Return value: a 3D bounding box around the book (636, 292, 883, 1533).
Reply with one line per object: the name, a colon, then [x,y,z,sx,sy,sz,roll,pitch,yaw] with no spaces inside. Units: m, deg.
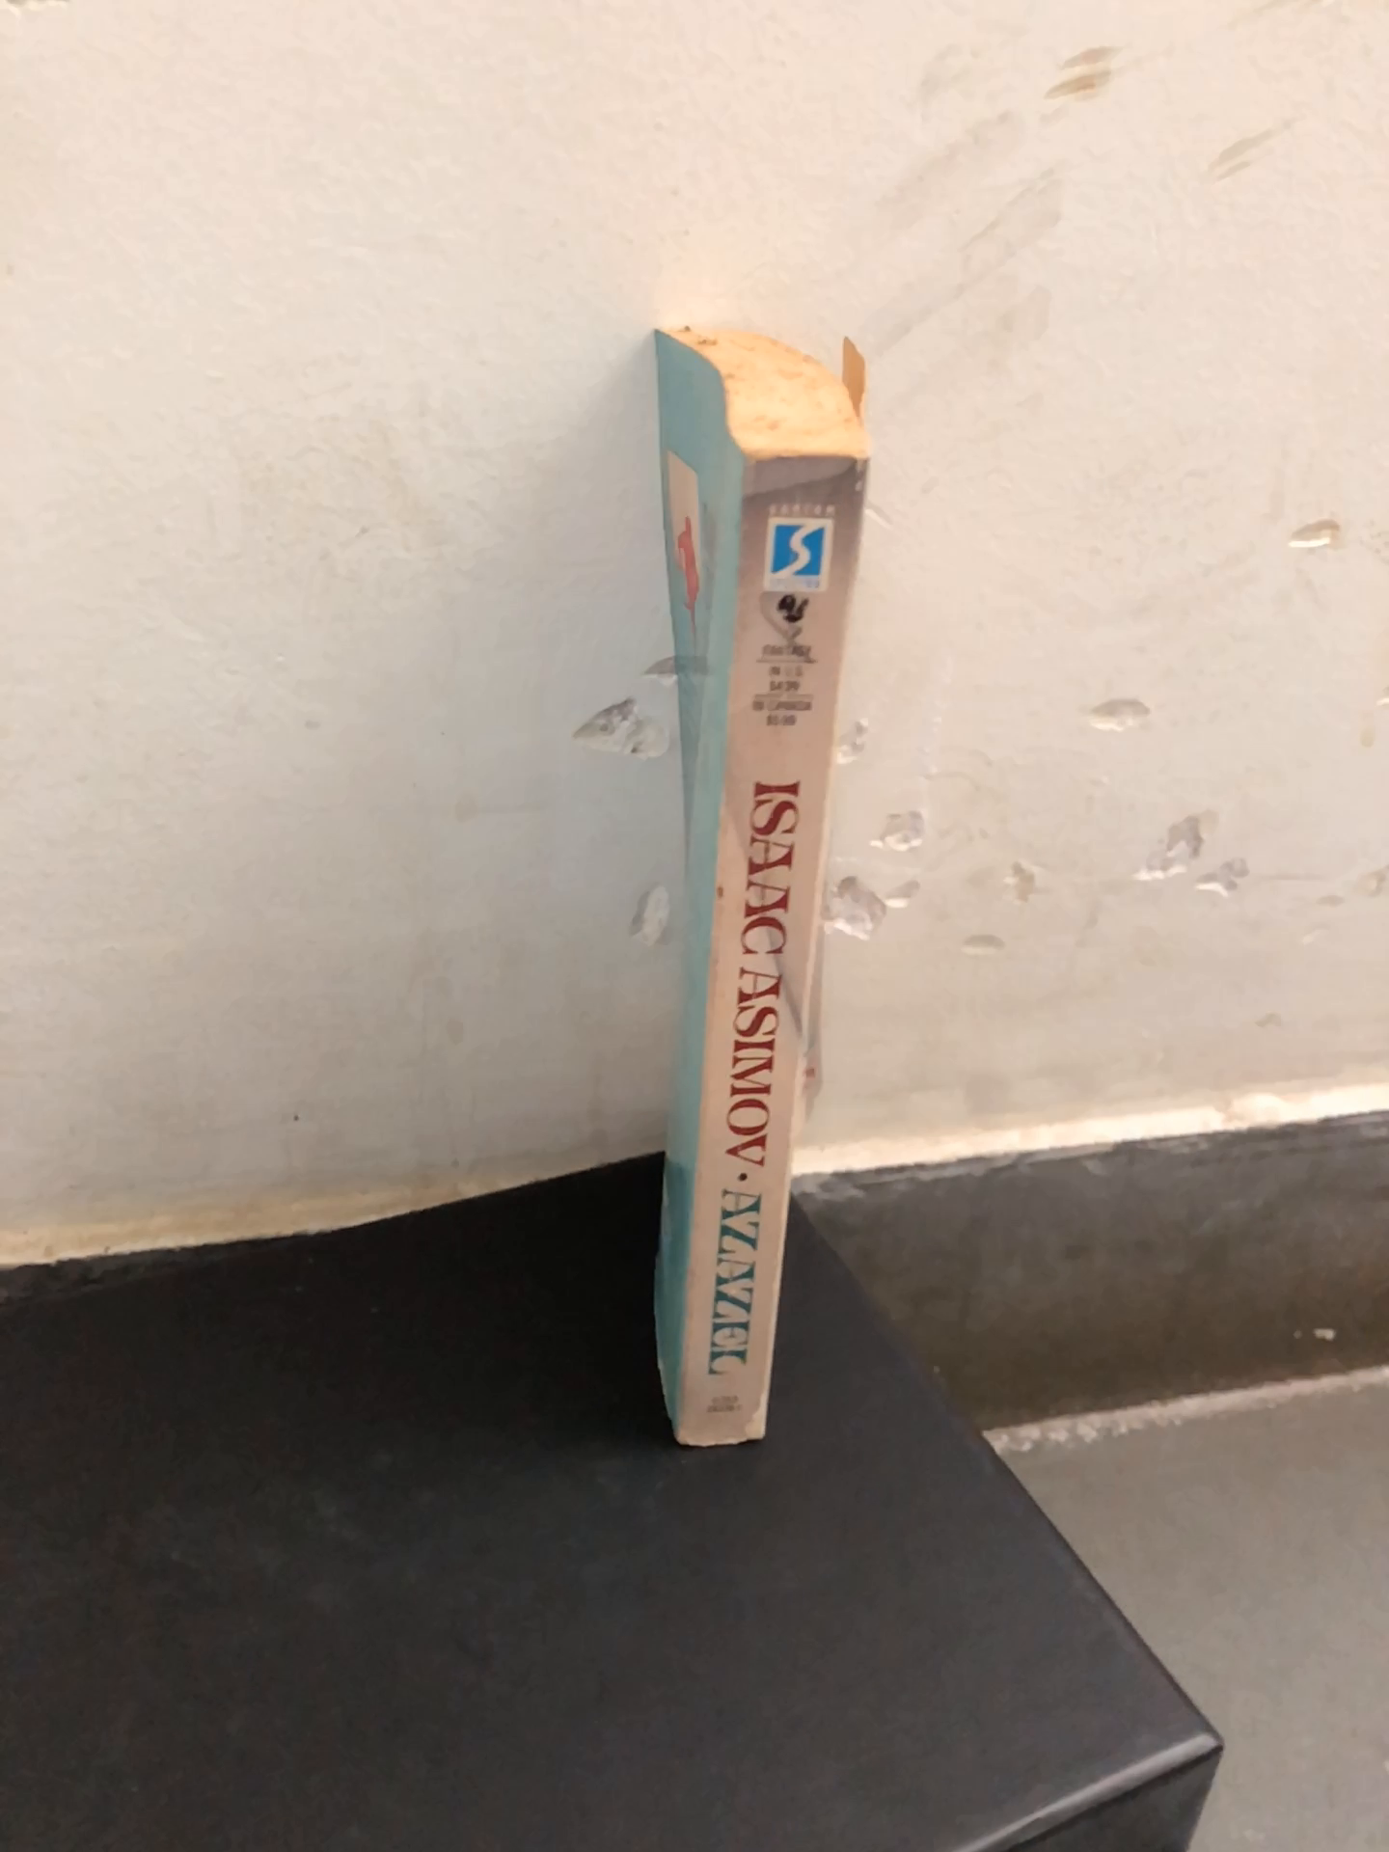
book: [0.008,-0.011,0.299,0.030,0.189,0.151,-1,29,-1]
